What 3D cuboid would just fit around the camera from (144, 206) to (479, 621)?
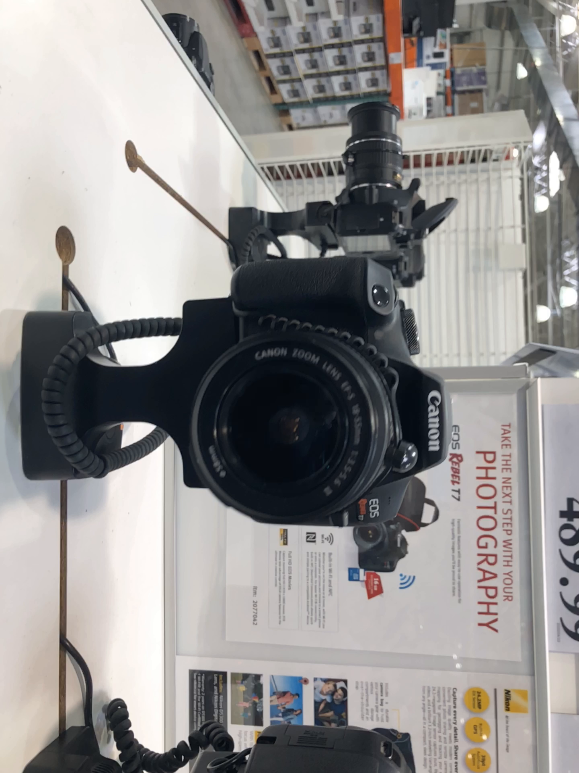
[{"bbox_3d":[0.019,0.008,0.284,0.150,0.110,0.130,-6,95,-79],"label":"camera"}]
